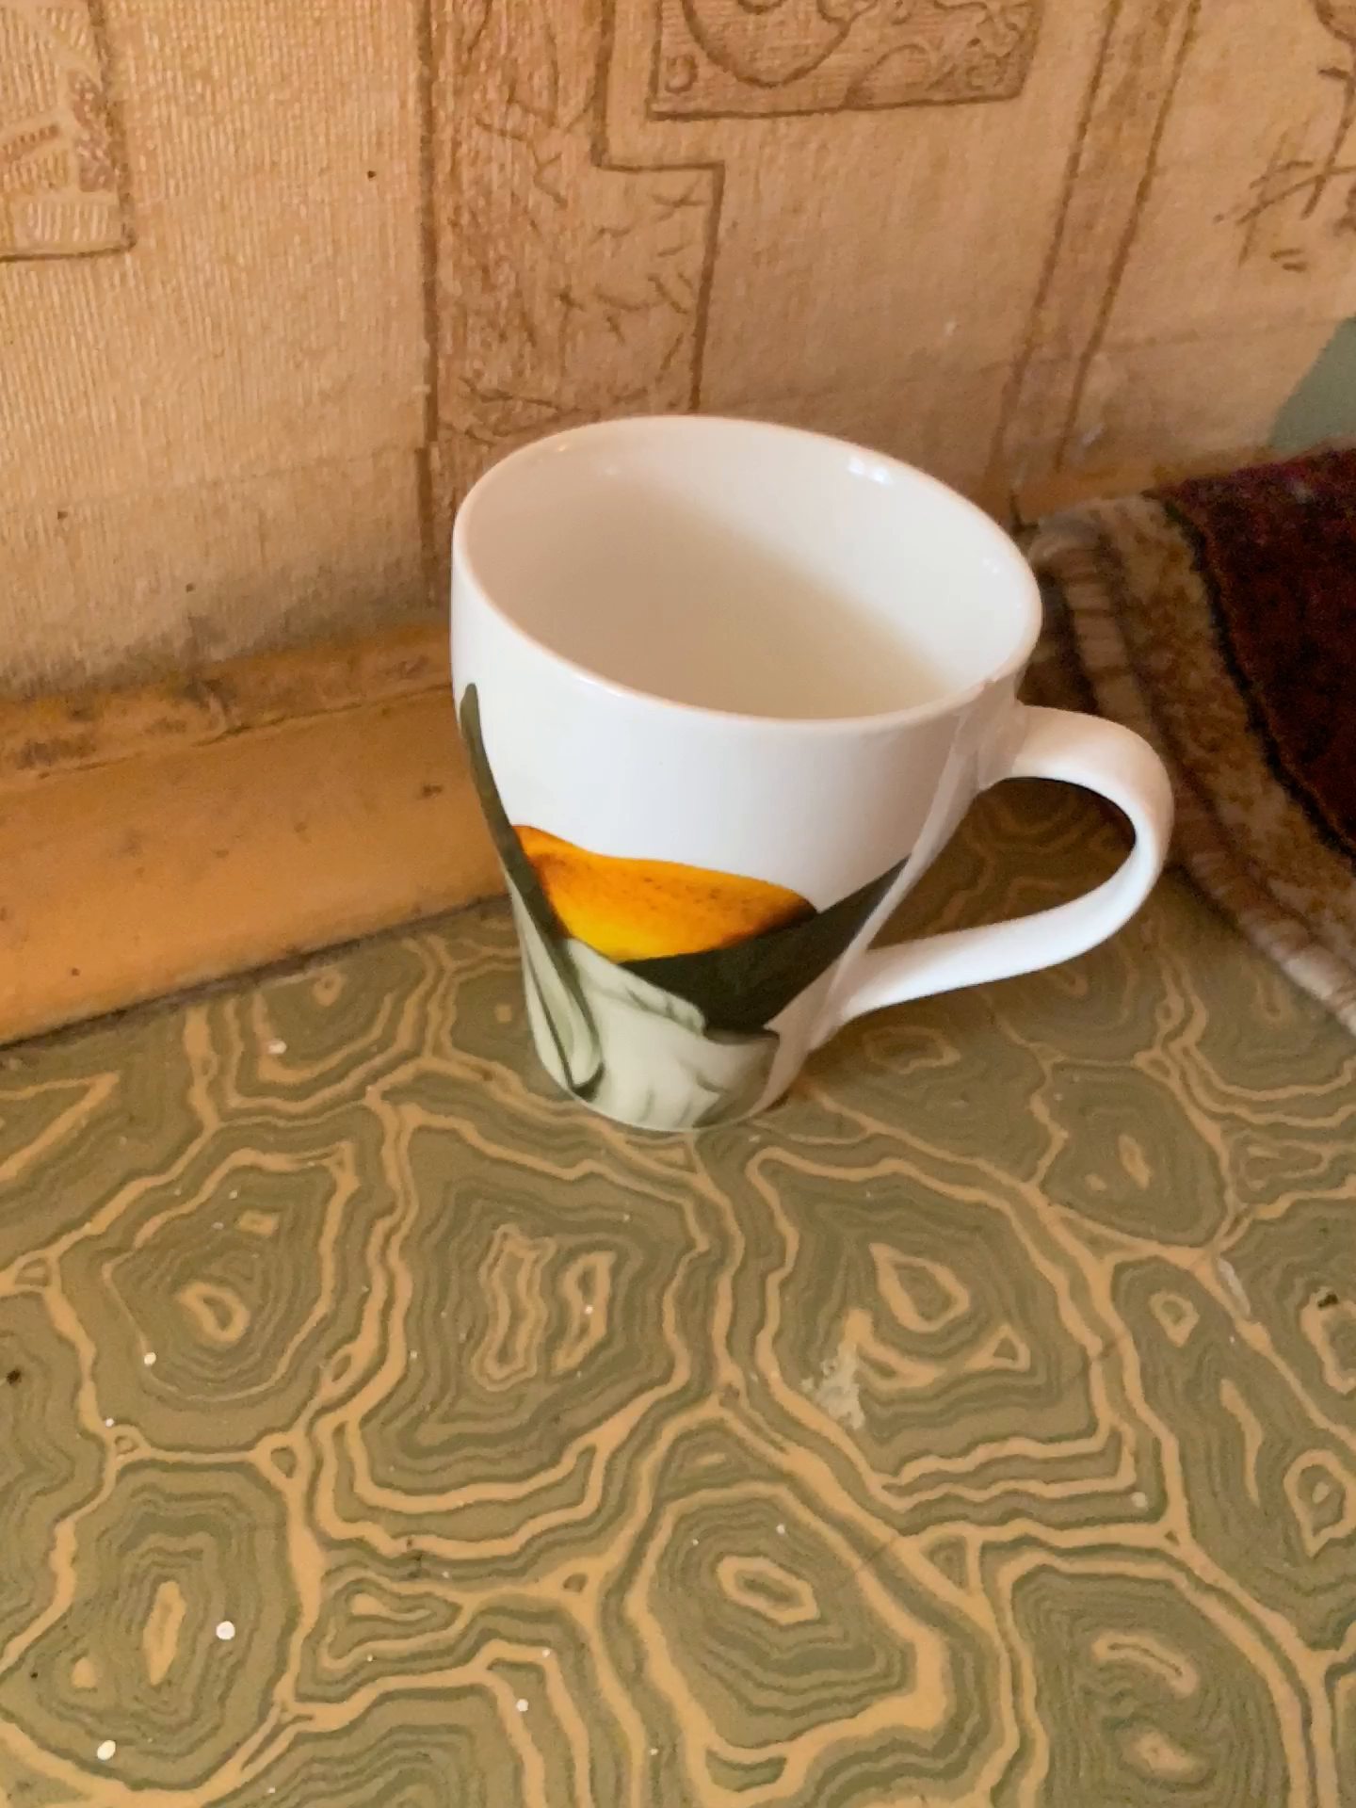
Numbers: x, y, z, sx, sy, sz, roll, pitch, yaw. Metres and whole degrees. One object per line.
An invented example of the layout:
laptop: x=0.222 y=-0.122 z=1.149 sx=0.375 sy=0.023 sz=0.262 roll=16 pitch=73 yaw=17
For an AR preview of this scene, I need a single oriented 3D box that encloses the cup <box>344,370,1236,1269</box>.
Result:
cup: x=0.018 y=-0.017 z=0.252 sx=0.118 sy=0.099 sz=0.094 roll=13 pitch=43 yaw=5
